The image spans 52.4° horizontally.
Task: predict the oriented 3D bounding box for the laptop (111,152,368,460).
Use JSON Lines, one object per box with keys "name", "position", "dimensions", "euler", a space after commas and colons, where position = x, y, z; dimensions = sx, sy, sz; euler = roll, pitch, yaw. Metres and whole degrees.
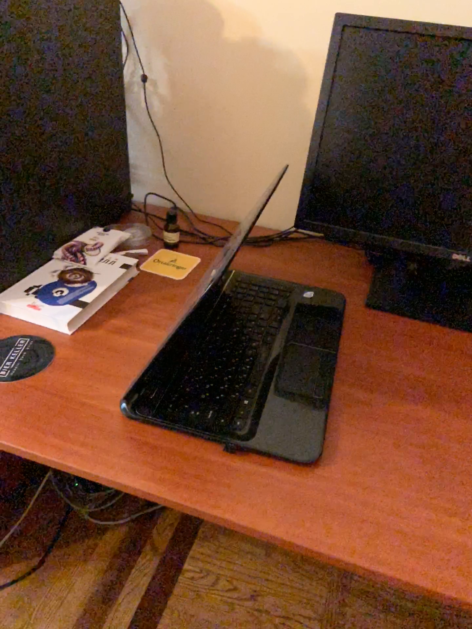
{"name": "laptop", "position": [0.028, -0.044, 0.624], "dimensions": [0.222, 0.198, 0.350], "euler": [13, 36, 10]}
